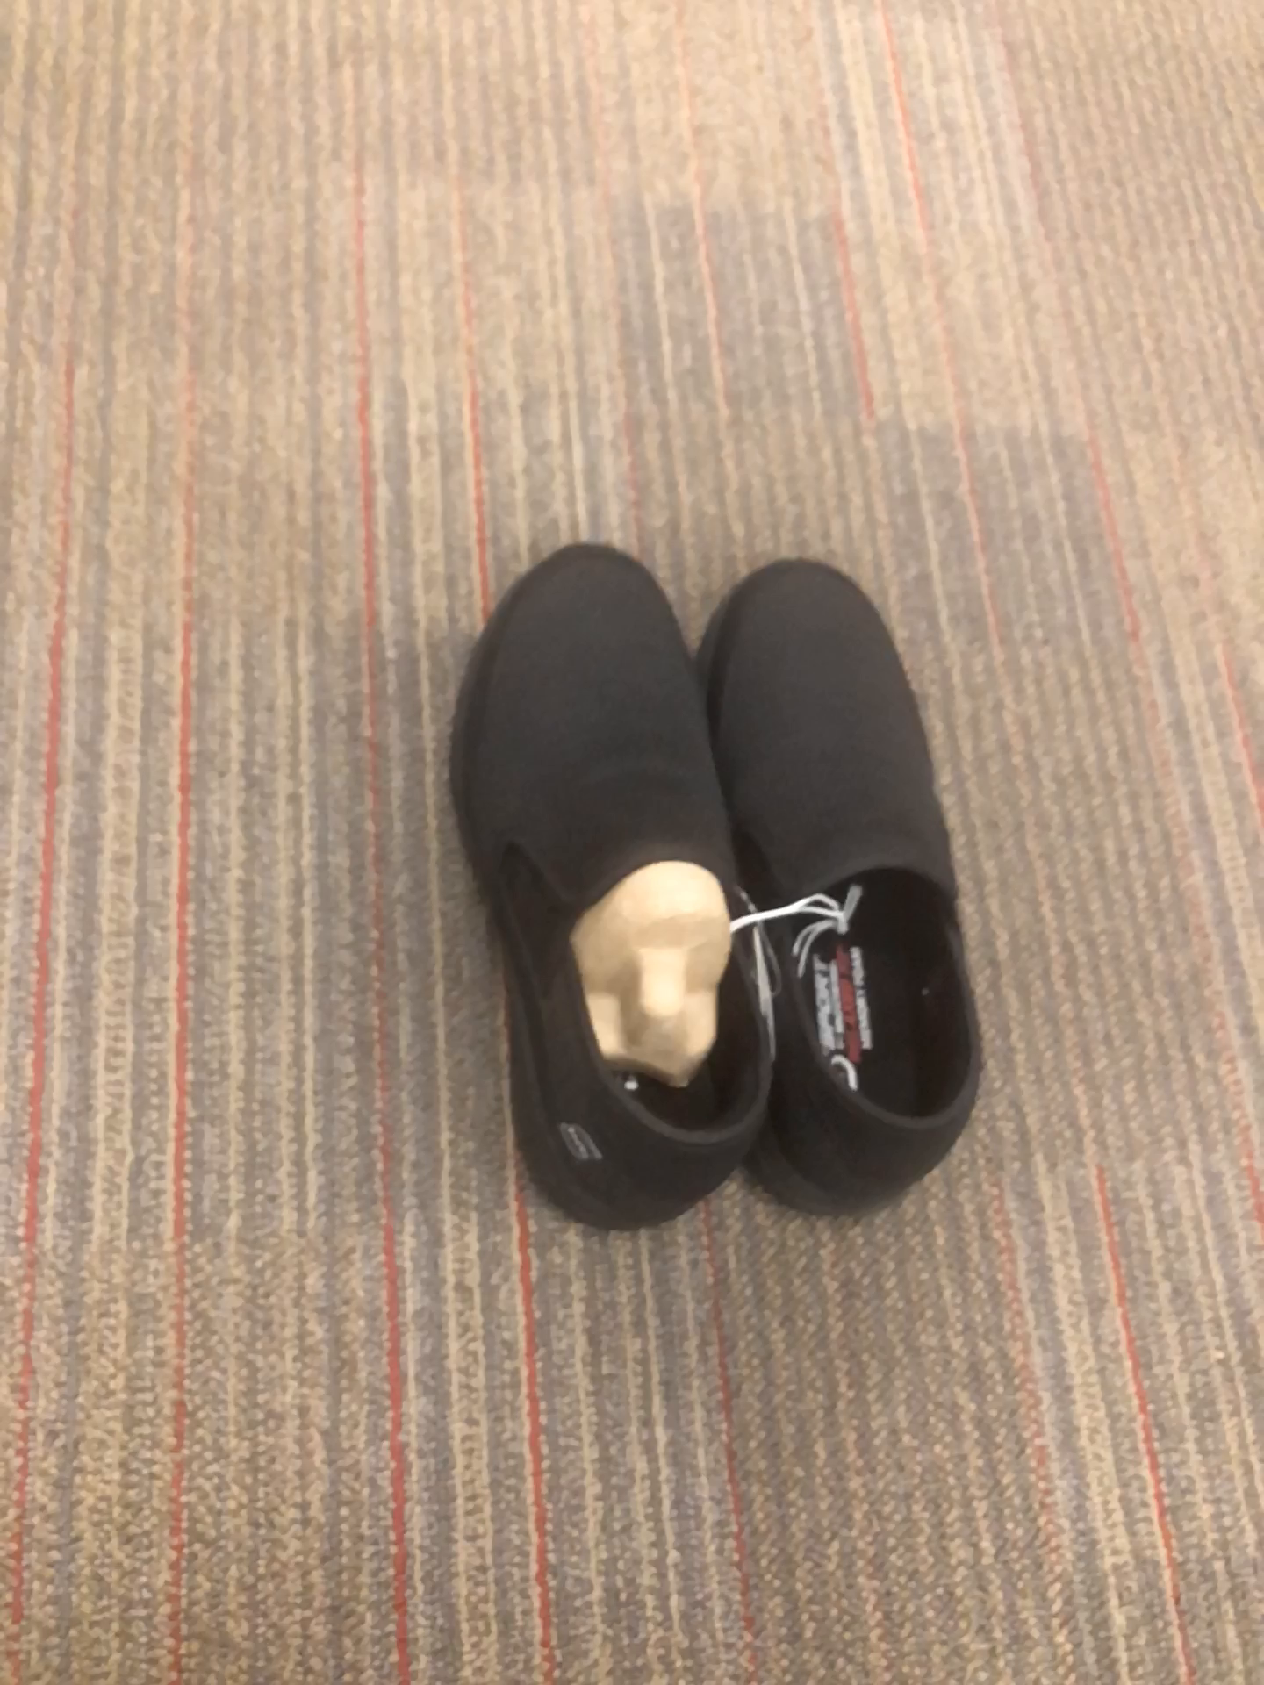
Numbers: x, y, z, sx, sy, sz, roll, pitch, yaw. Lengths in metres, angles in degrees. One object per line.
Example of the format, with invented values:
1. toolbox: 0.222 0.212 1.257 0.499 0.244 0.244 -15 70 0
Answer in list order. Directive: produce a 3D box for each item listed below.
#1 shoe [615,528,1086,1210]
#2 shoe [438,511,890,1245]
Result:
1. shoe: 0.077 0.012 0.571 0.121 0.109 0.247 -2 71 -15
2. shoe: 0.001 0.012 0.547 0.117 0.105 0.257 -3 72 -15
